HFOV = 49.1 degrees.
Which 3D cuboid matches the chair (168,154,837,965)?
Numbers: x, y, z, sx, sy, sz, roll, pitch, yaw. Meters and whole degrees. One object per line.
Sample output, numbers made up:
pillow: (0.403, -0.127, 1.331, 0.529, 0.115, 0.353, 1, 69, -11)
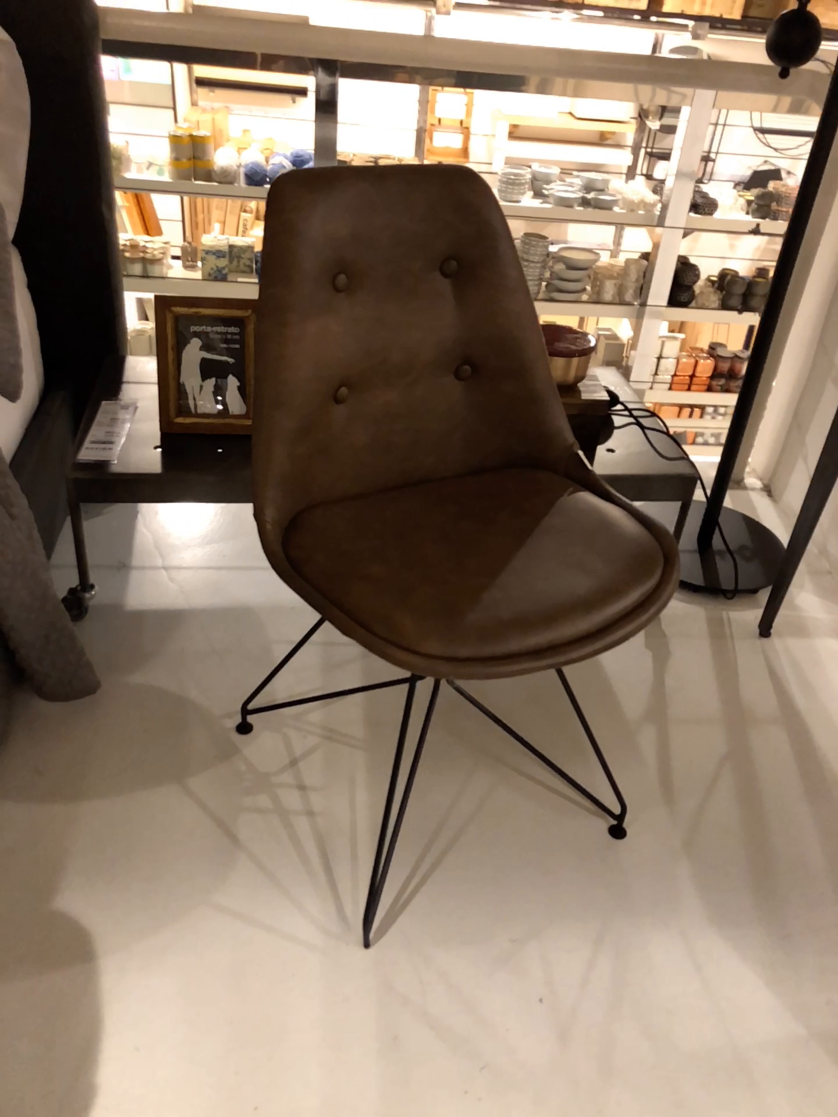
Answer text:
chair: (0.038, -0.042, 1.153, 0.511, 0.754, 0.553, -13, 38, -26)
